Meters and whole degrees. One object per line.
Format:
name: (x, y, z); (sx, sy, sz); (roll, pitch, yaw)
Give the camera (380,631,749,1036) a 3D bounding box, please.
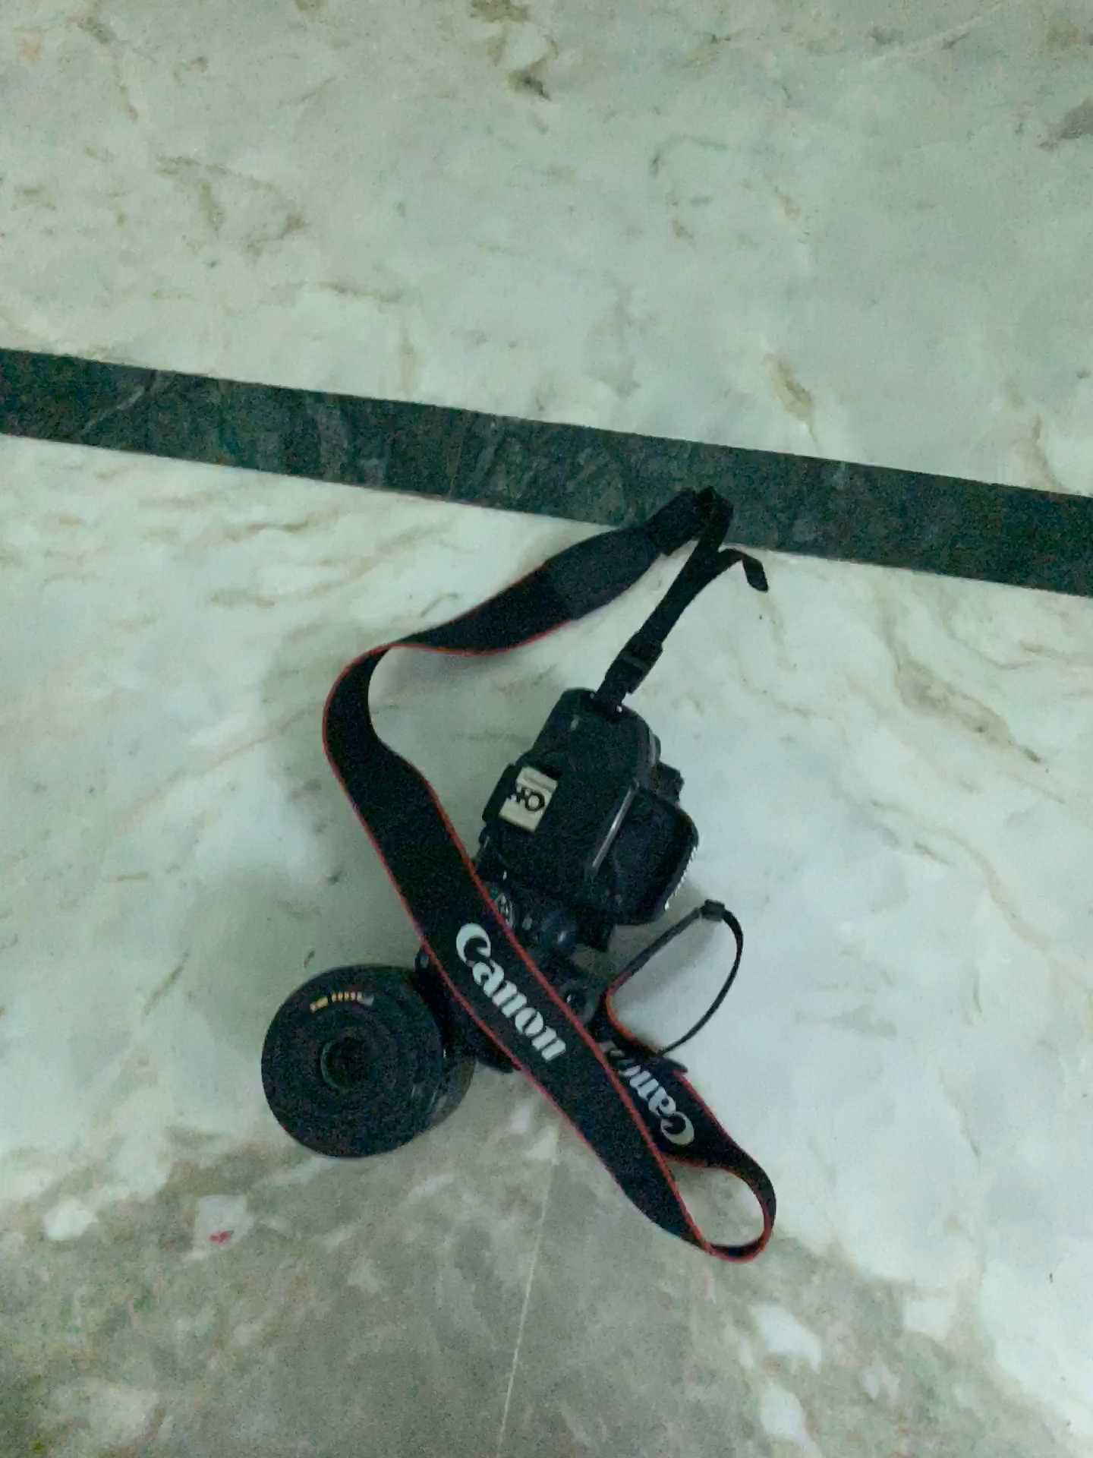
camera: (0.010, 0.041, 0.414); (0.082, 0.078, 0.112); (26, 80, 12)
